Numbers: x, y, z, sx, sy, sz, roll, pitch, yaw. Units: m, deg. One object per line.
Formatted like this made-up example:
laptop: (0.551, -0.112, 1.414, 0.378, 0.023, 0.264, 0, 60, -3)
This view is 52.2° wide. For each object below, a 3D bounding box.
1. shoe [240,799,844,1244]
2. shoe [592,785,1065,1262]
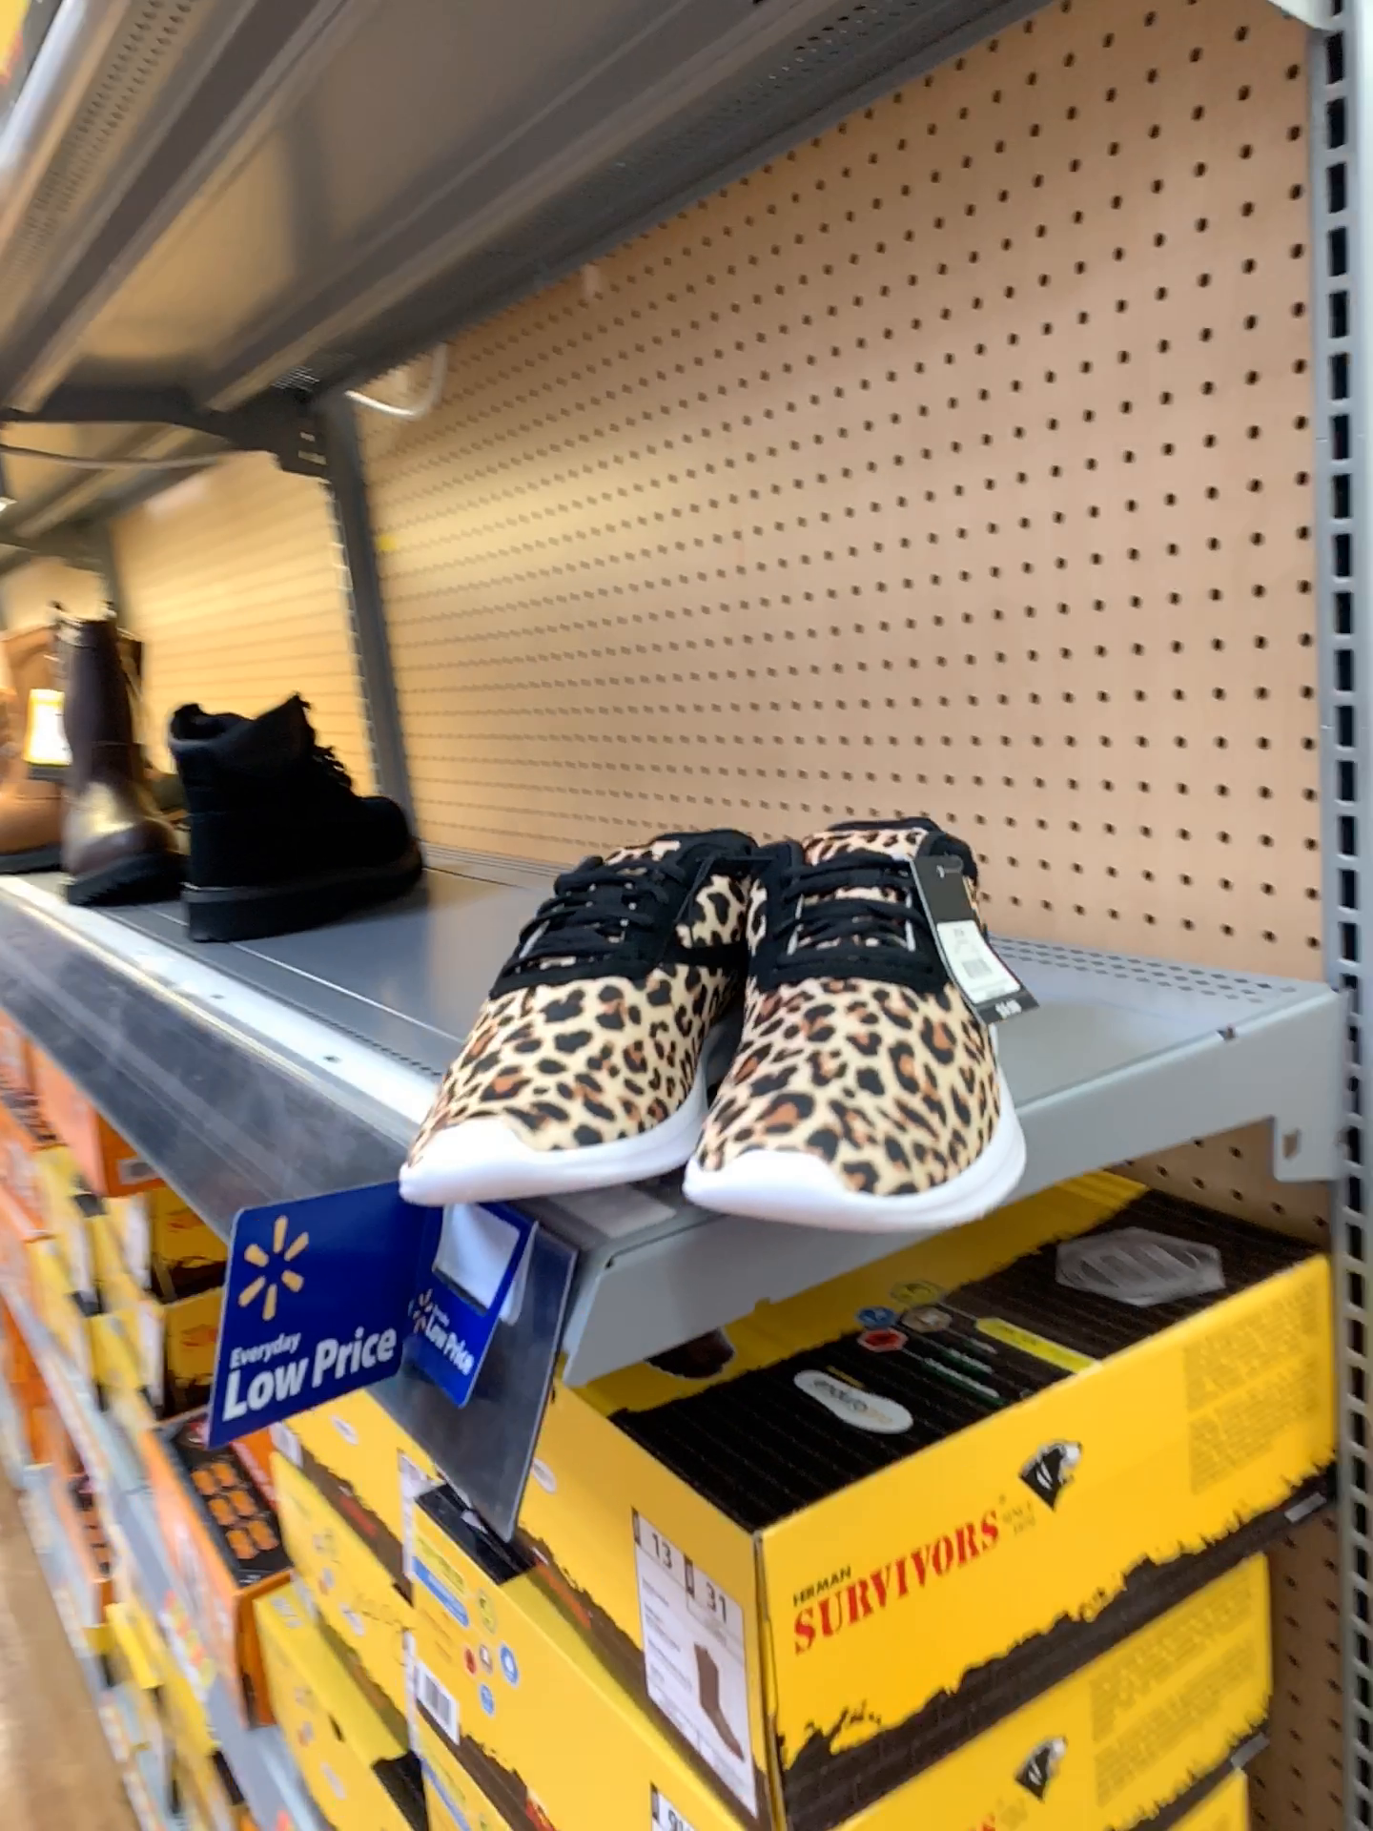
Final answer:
shoe: (-0.034, 0.024, 0.529, 0.119, 0.091, 0.241, -2, 13, 22)
shoe: (0.067, 0.021, 0.491, 0.110, 0.091, 0.241, -2, 13, 19)
